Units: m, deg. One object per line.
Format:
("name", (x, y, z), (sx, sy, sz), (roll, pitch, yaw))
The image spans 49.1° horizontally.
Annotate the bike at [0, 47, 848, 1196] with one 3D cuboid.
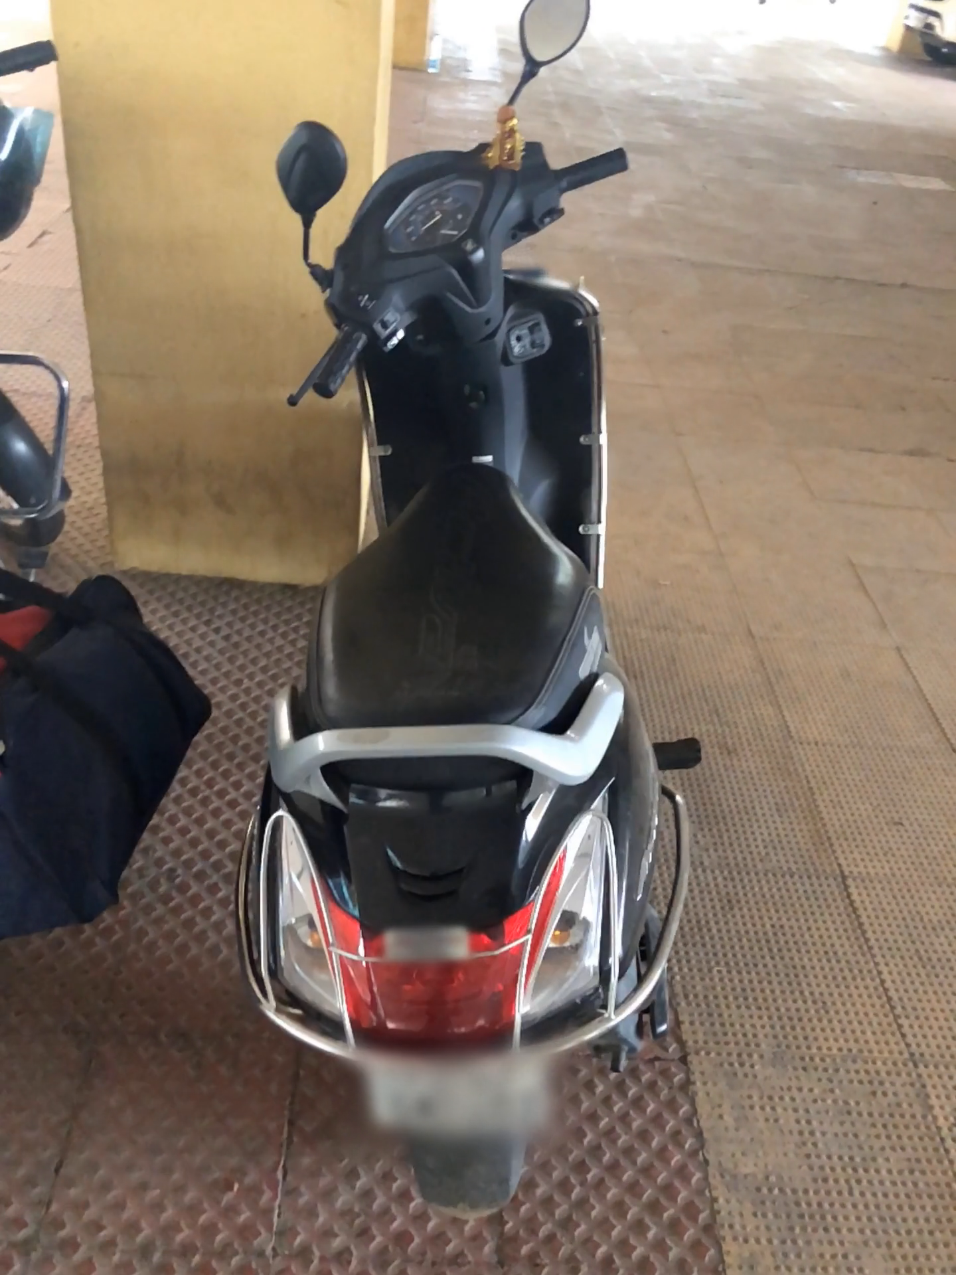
("bike", (-0.177, -0.229, 1.616), (0.621, 0.882, 1.668), (2, 37, -8))
